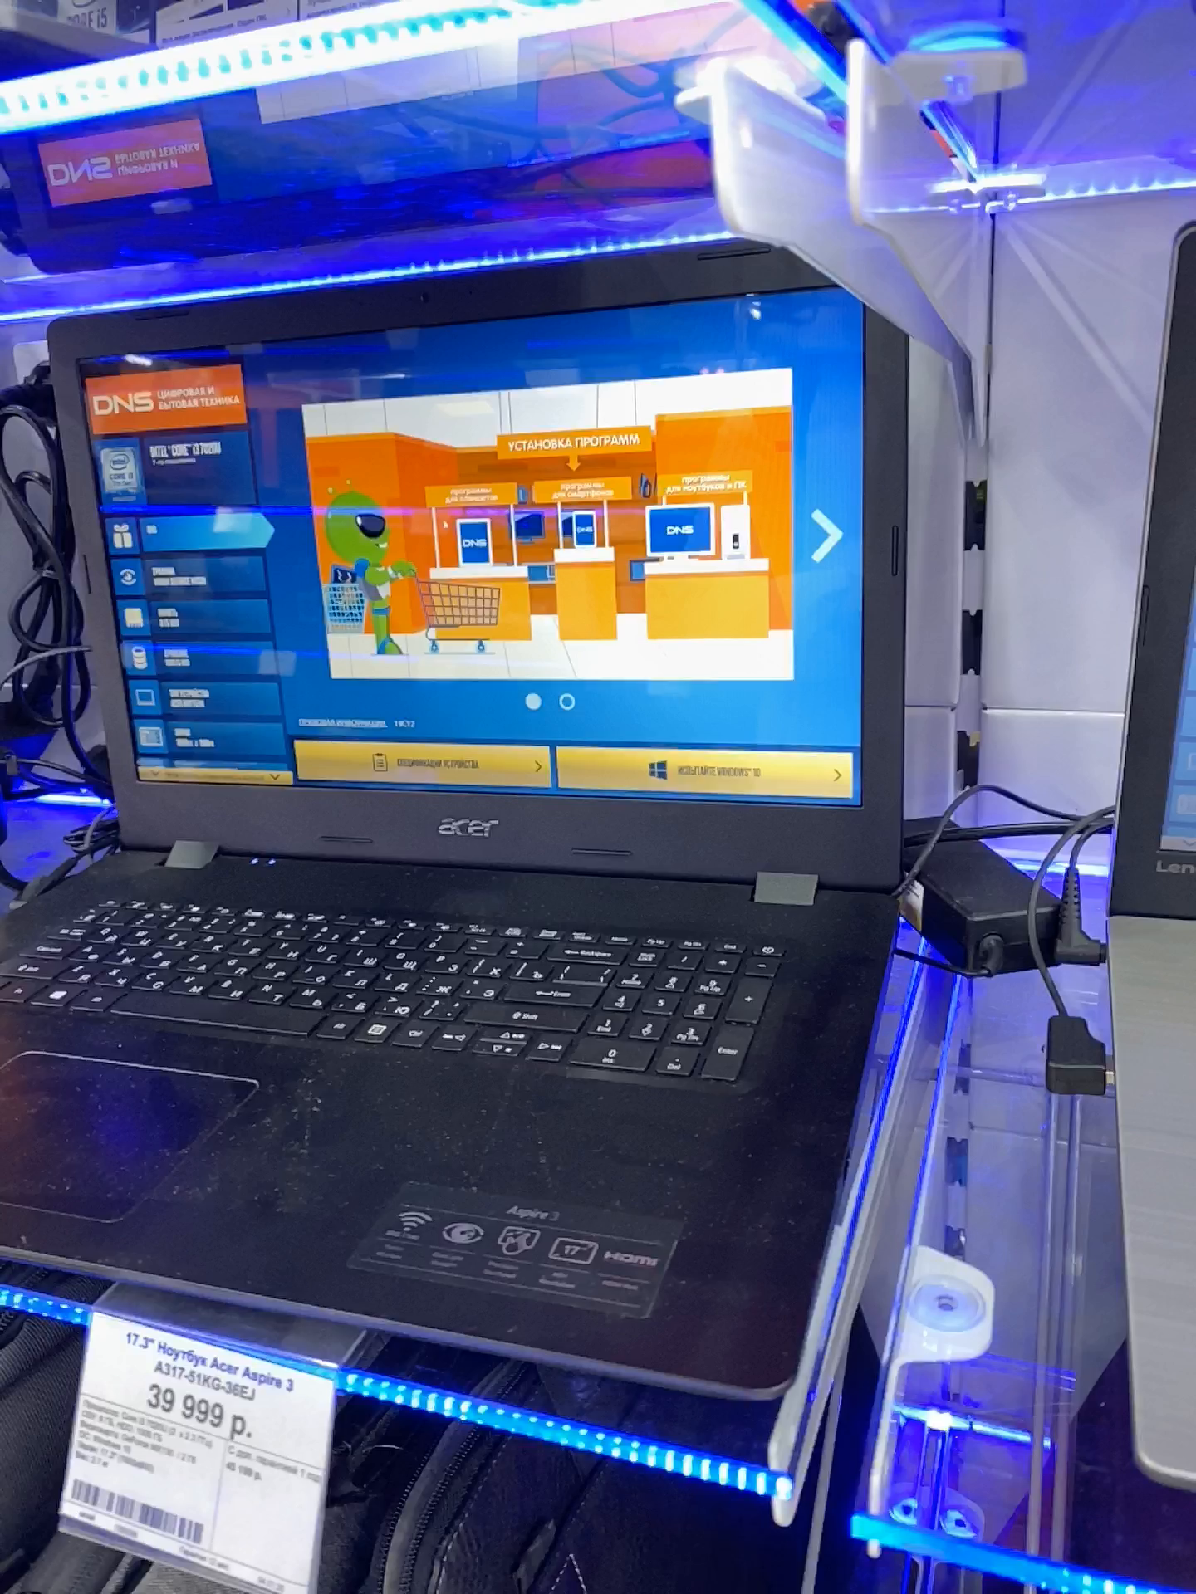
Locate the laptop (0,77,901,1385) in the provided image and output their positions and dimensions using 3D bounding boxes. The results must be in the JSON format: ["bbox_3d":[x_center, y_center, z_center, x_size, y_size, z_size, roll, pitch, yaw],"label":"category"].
[{"bbox_3d":[-0.116,-0.053,0.462,0.422,0.273,0.328,2,20,19],"label":"laptop"}]
